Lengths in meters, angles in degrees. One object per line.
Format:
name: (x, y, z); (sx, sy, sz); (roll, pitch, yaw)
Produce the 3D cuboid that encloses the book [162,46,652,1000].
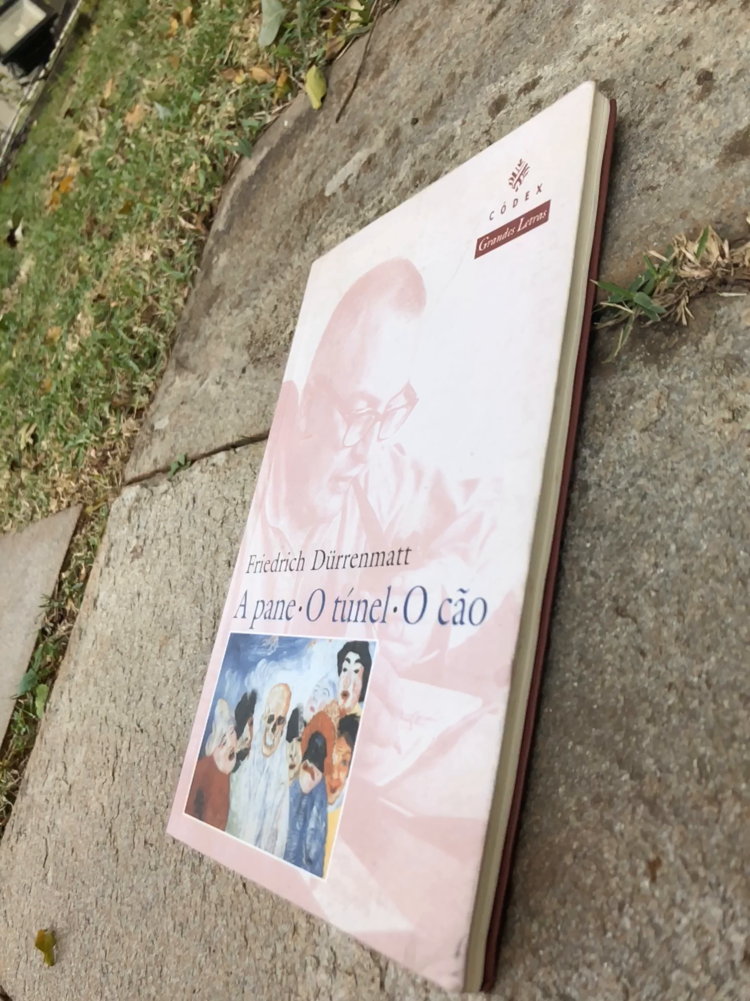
book: (0.002, 0.000, 0.235); (0.138, 0.020, 0.210); (-9, 65, 54)
